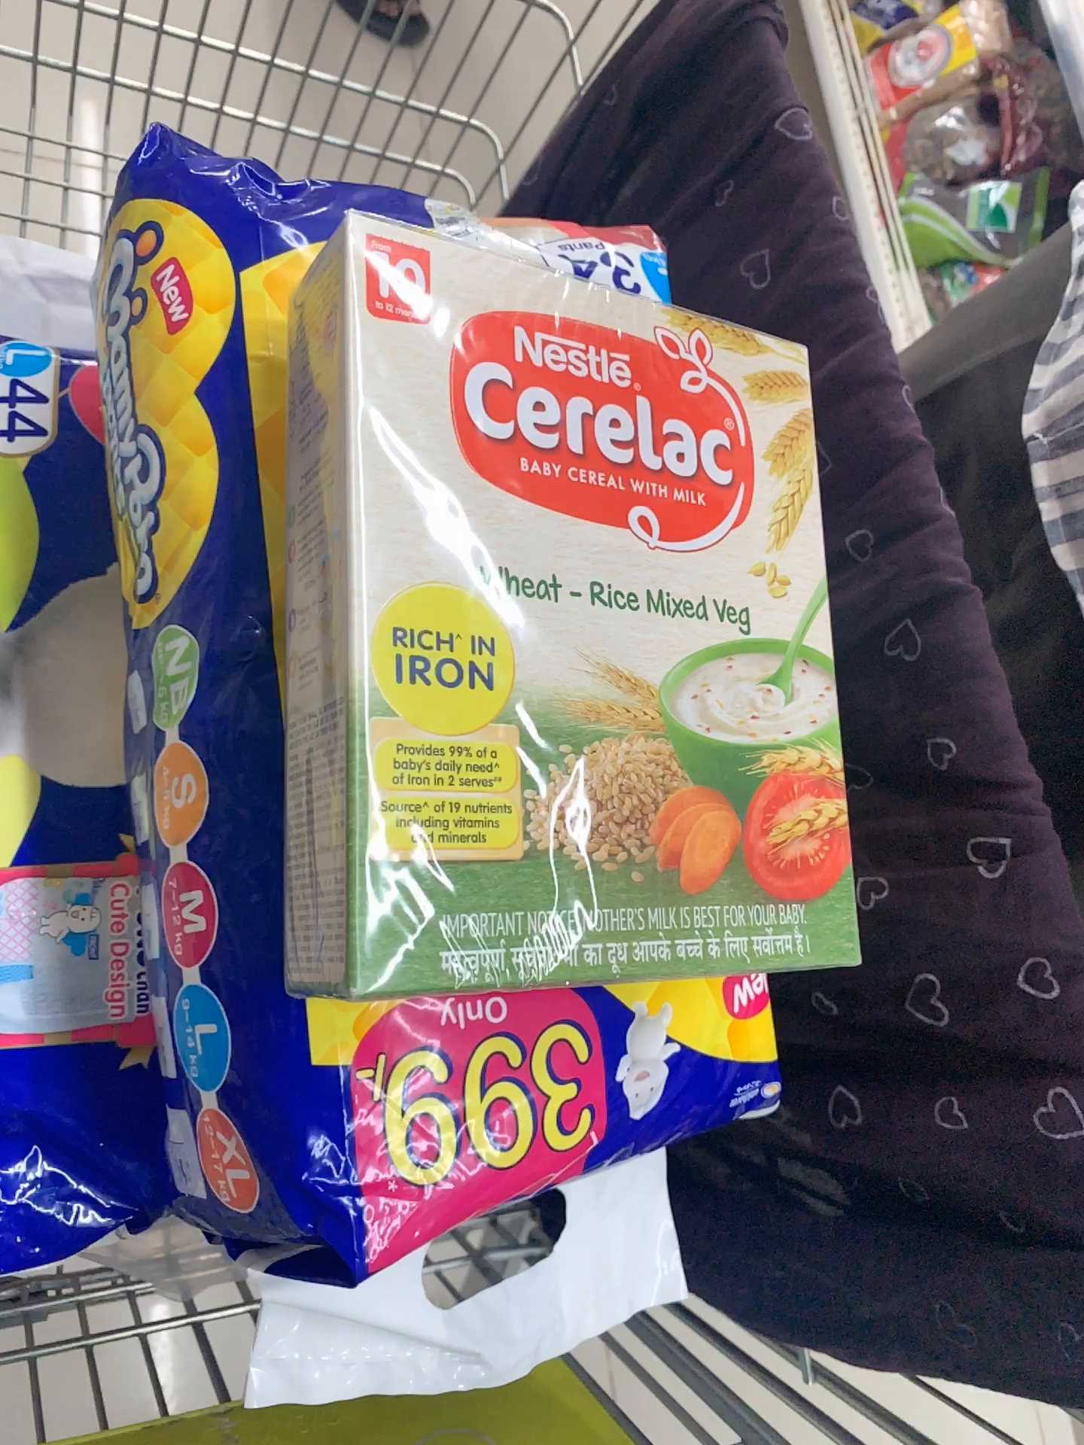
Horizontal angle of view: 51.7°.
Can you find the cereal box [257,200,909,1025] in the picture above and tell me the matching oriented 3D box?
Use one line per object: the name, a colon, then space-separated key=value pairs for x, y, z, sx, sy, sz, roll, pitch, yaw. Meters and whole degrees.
cereal box: x=0.012 y=-0.021 z=0.296 sx=0.160 sy=0.050 sz=0.180 roll=3 pitch=78 yaw=-30
